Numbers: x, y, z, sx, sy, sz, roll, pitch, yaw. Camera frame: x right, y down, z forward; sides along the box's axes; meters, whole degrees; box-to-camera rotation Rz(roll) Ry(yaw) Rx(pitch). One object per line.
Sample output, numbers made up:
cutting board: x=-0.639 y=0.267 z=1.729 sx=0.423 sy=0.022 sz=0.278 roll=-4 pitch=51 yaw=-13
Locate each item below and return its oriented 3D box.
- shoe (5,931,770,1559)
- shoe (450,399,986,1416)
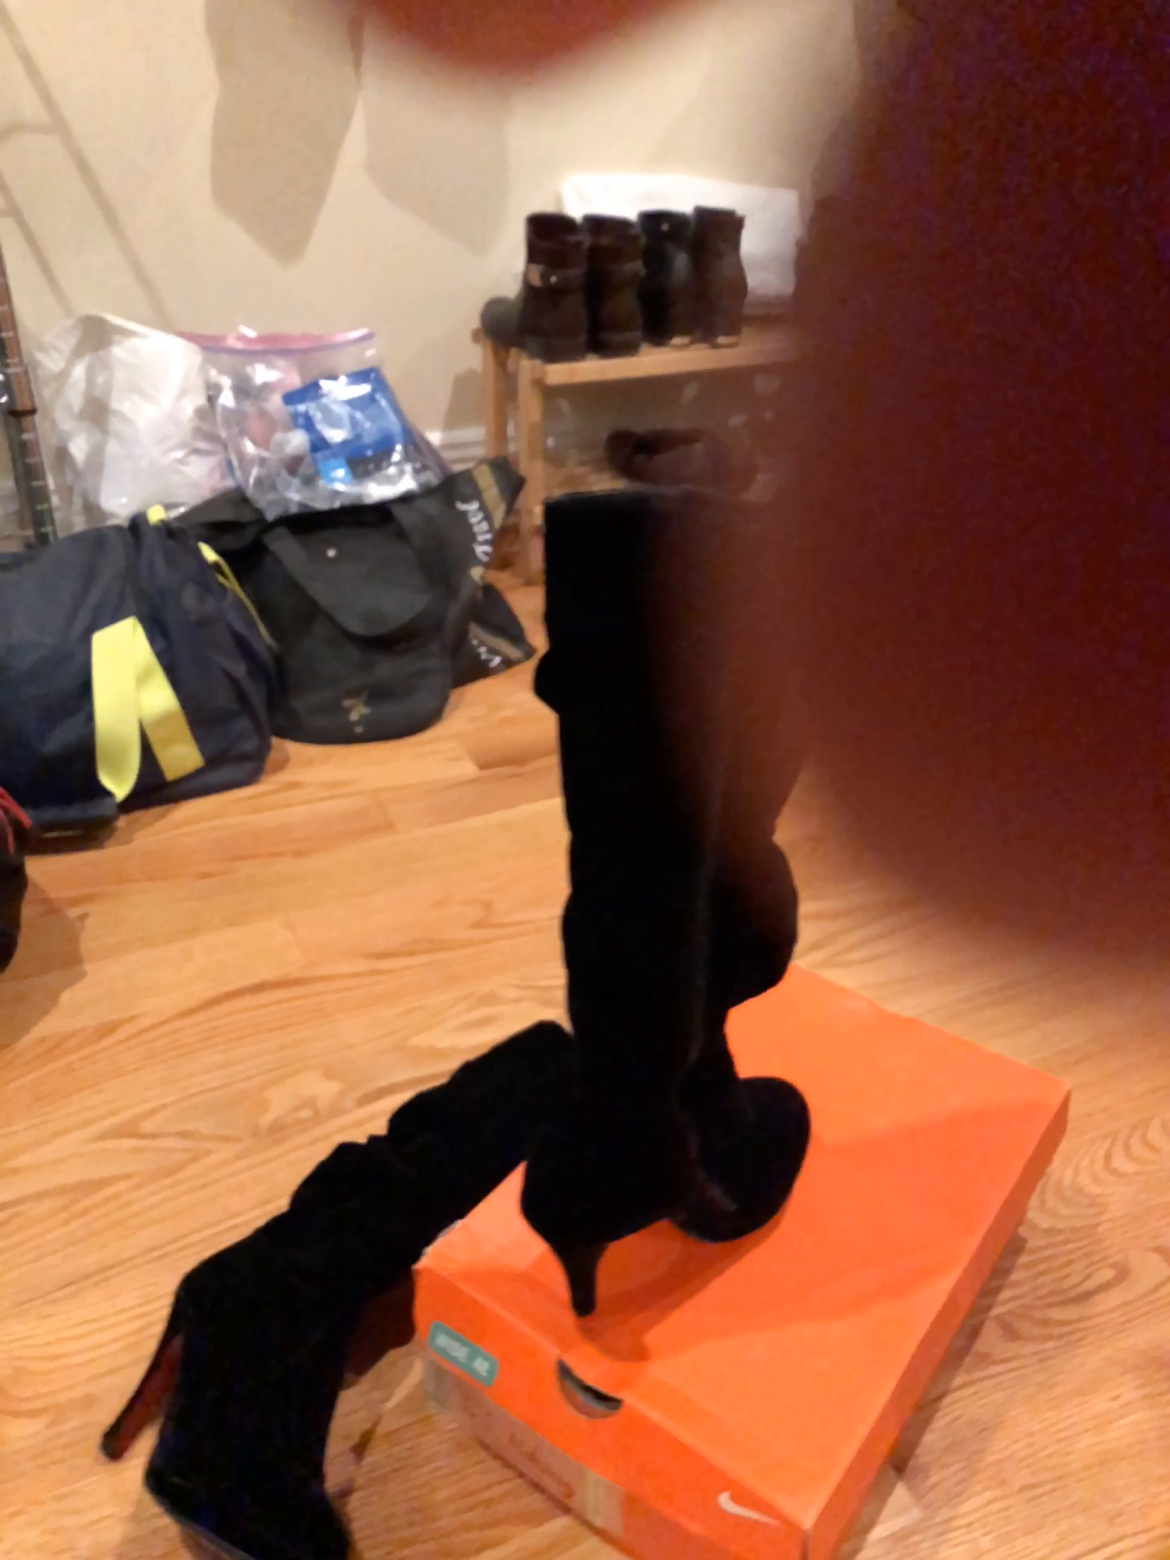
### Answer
shoe: x=-0.083 y=0.255 z=0.743 sx=0.206 sy=0.089 sz=0.401 roll=19 pitch=34 yaw=30
shoe: x=0.055 y=0.058 z=0.578 sx=0.089 sy=0.397 sz=0.217 roll=24 pitch=37 yaw=34
